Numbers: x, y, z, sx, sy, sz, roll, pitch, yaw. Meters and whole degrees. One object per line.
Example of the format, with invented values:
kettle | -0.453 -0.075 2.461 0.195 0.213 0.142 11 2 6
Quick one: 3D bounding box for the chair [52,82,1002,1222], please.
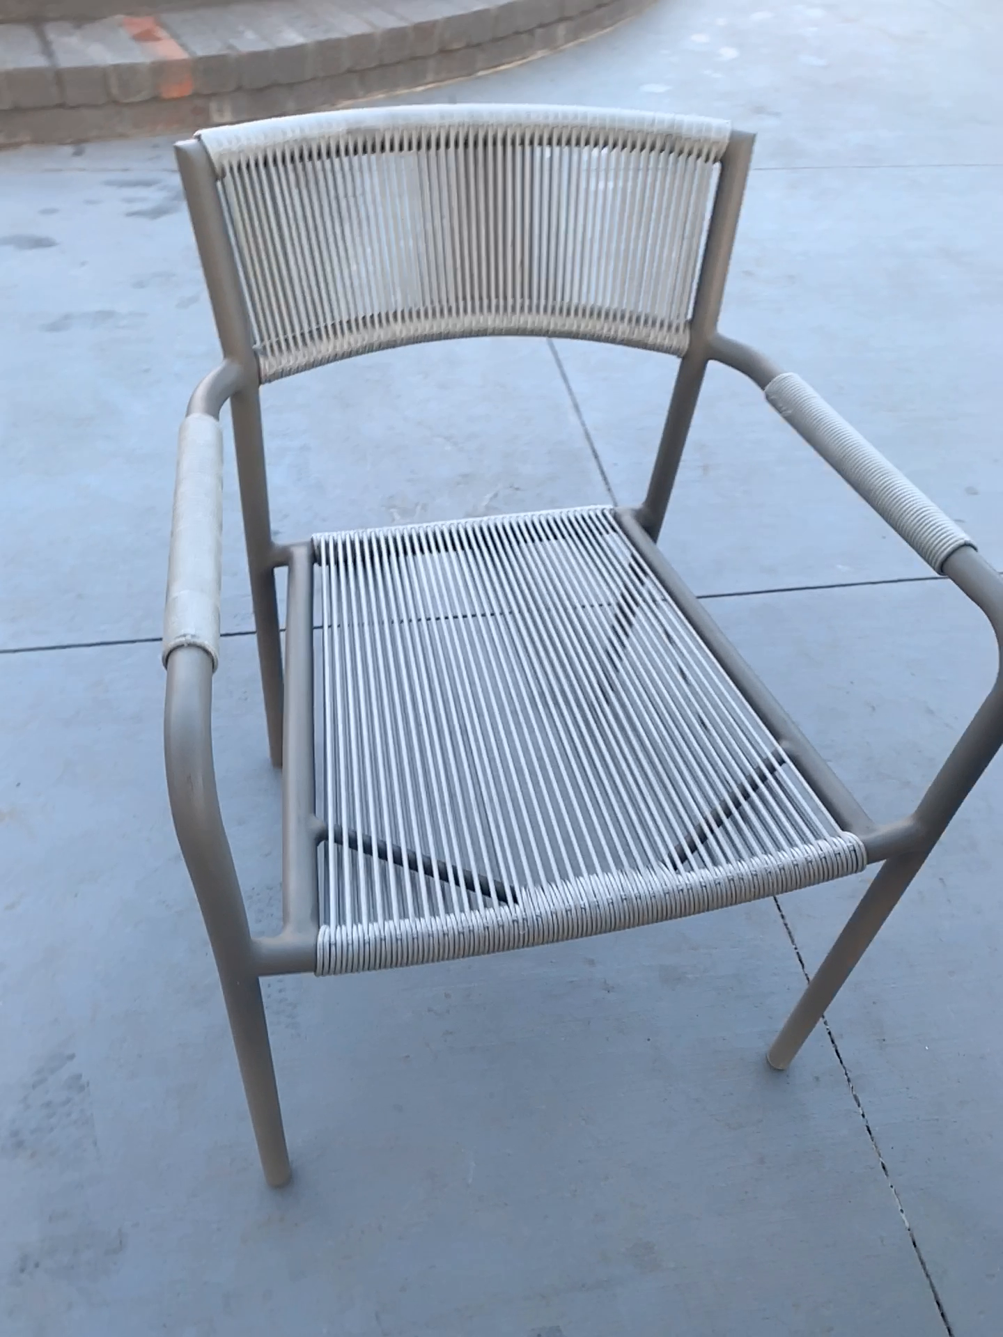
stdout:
chair | 0.041 -0.012 0.951 0.670 0.767 0.602 -9 48 -13
